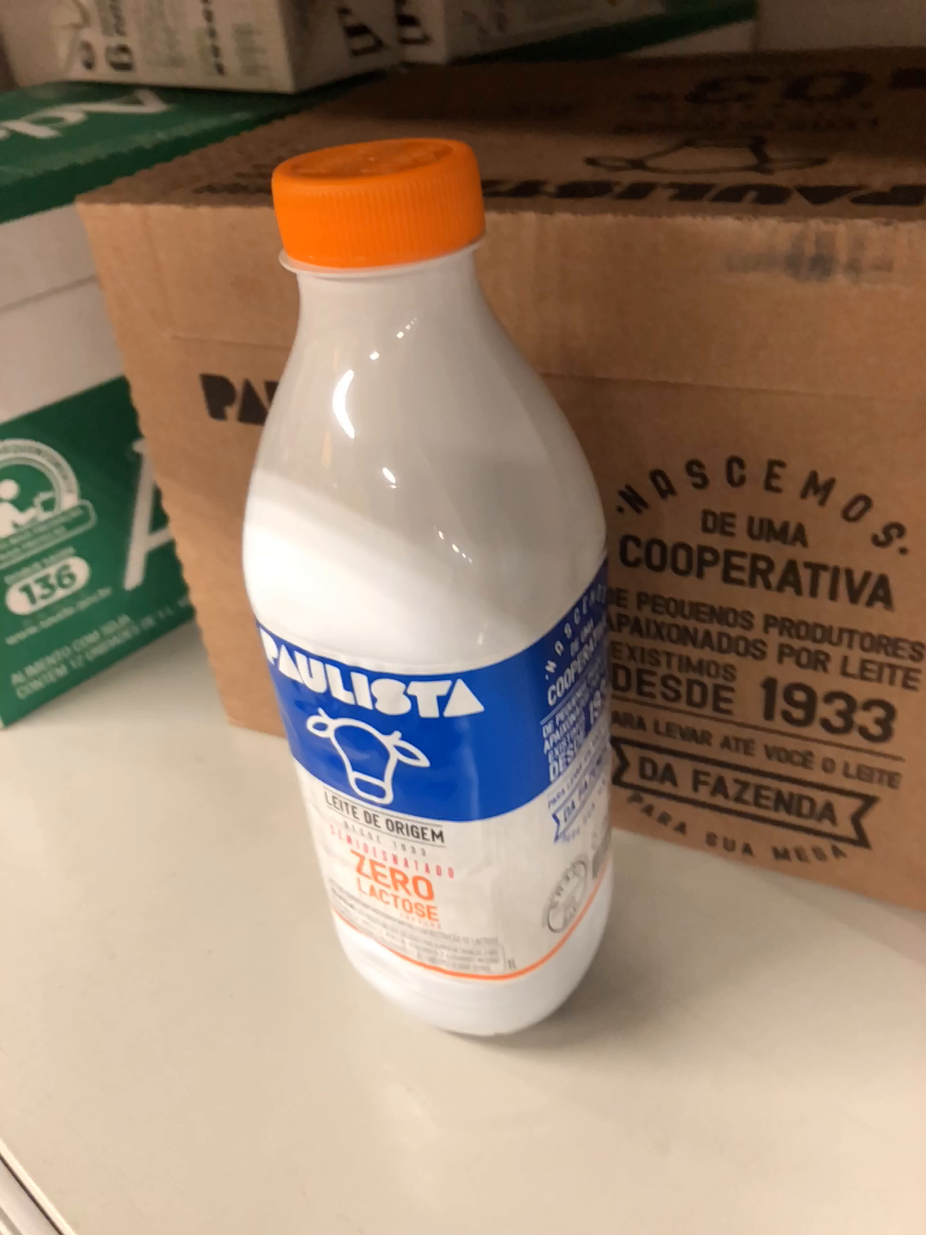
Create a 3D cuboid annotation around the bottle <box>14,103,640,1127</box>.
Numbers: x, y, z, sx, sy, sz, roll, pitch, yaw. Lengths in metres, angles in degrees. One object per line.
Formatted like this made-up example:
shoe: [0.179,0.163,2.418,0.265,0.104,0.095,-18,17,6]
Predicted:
bottle: [-0.011,0.009,0.252,0.080,0.228,0.080,-5,34,4]
